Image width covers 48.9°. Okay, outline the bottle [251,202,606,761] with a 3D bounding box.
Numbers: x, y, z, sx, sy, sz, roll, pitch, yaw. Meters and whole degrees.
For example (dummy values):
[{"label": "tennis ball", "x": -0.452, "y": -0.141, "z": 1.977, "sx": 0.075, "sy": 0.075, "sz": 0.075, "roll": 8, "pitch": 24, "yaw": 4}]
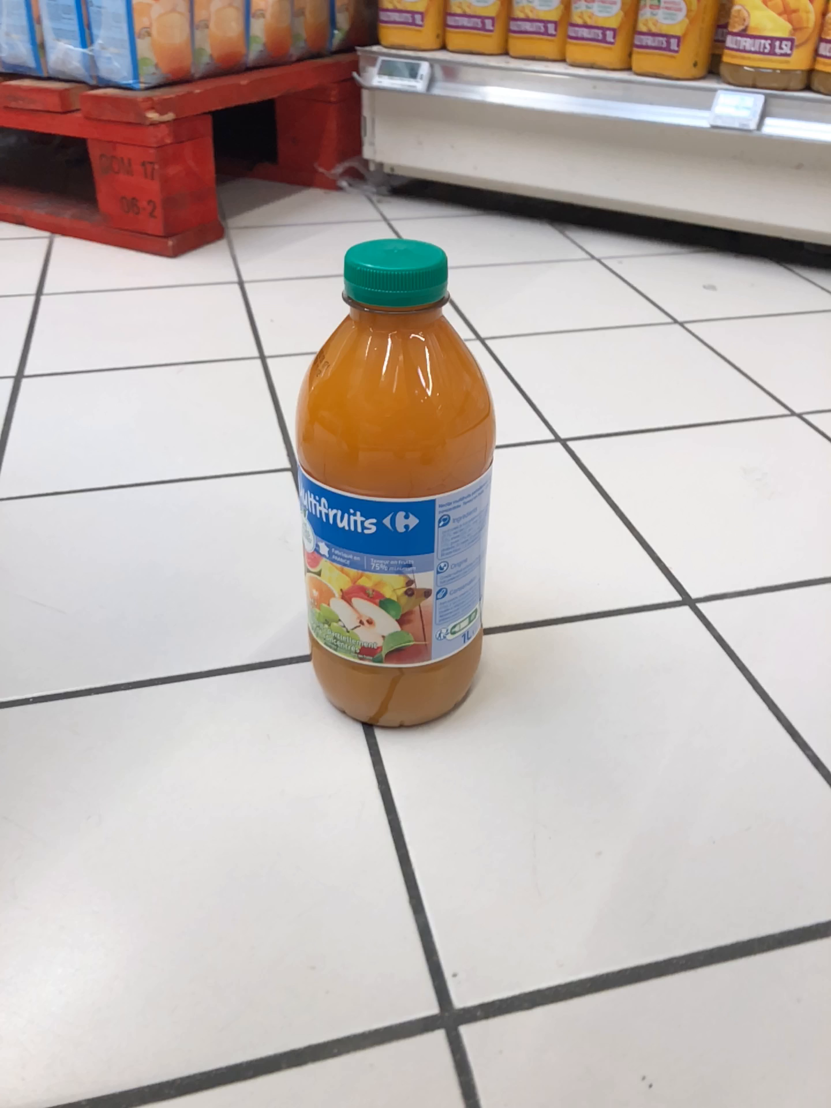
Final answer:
[{"label": "bottle", "x": 0.006, "y": -0.033, "z": 0.412, "sx": 0.100, "sy": 0.209, "sz": 0.101, "roll": 1, "pitch": 34, "yaw": -1}]
